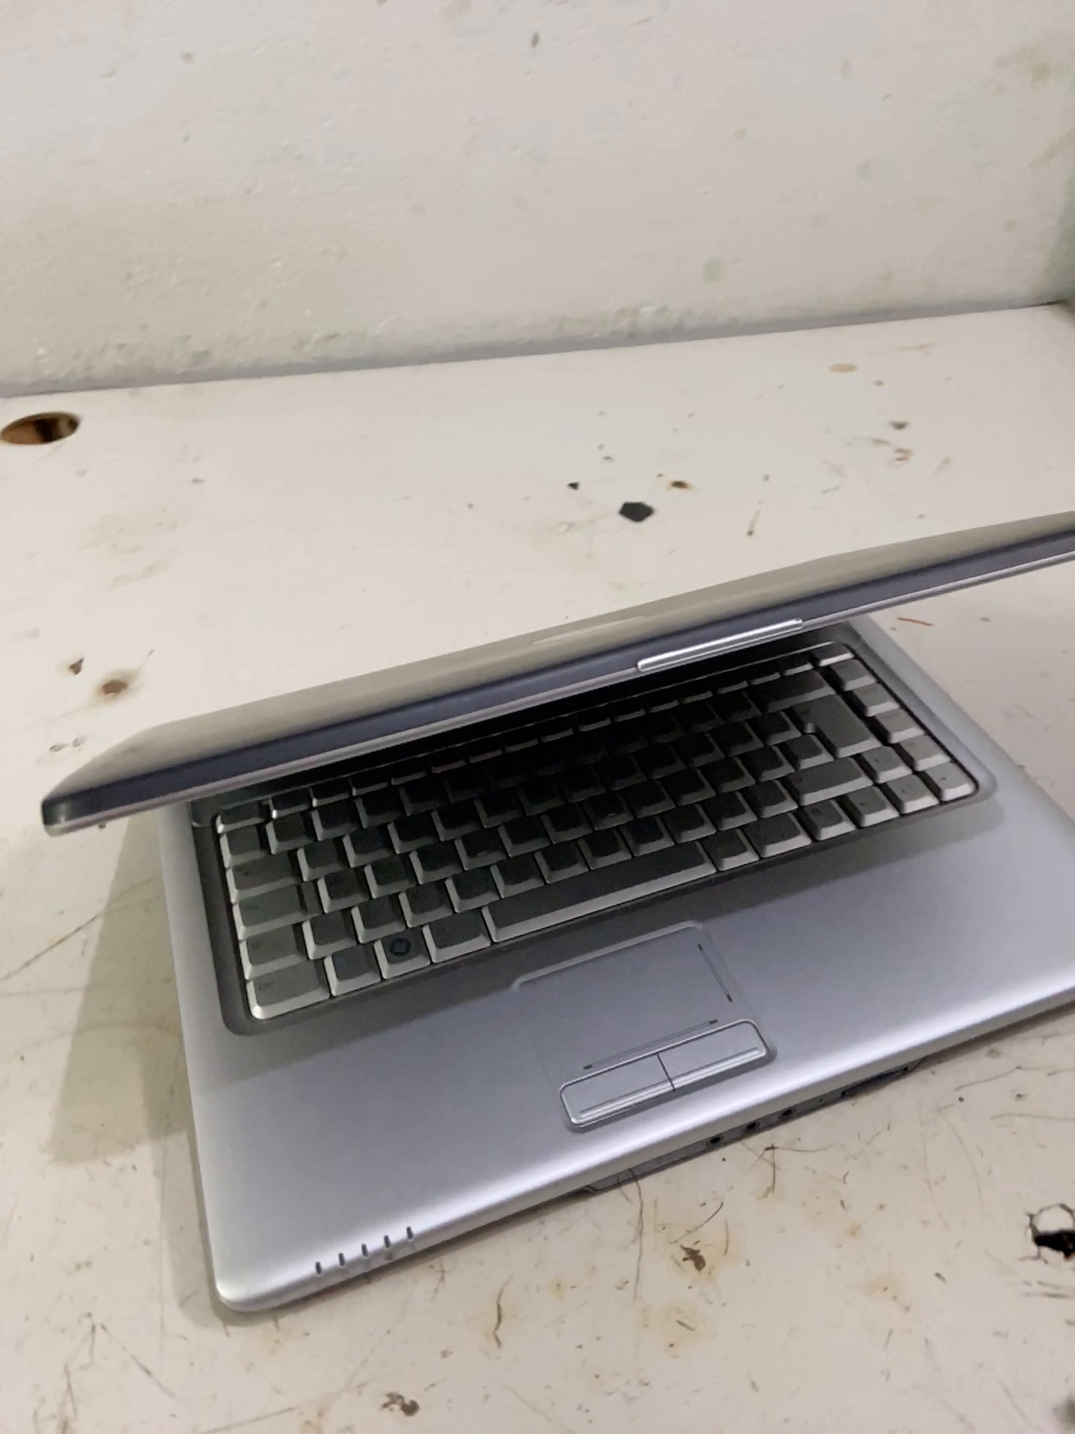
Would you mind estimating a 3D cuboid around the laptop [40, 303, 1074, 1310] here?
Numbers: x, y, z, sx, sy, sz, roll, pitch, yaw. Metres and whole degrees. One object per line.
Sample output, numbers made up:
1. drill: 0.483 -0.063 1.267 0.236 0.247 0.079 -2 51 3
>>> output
1. laptop: 0.028 -0.005 0.397 0.347 0.145 0.238 -15 43 -14
